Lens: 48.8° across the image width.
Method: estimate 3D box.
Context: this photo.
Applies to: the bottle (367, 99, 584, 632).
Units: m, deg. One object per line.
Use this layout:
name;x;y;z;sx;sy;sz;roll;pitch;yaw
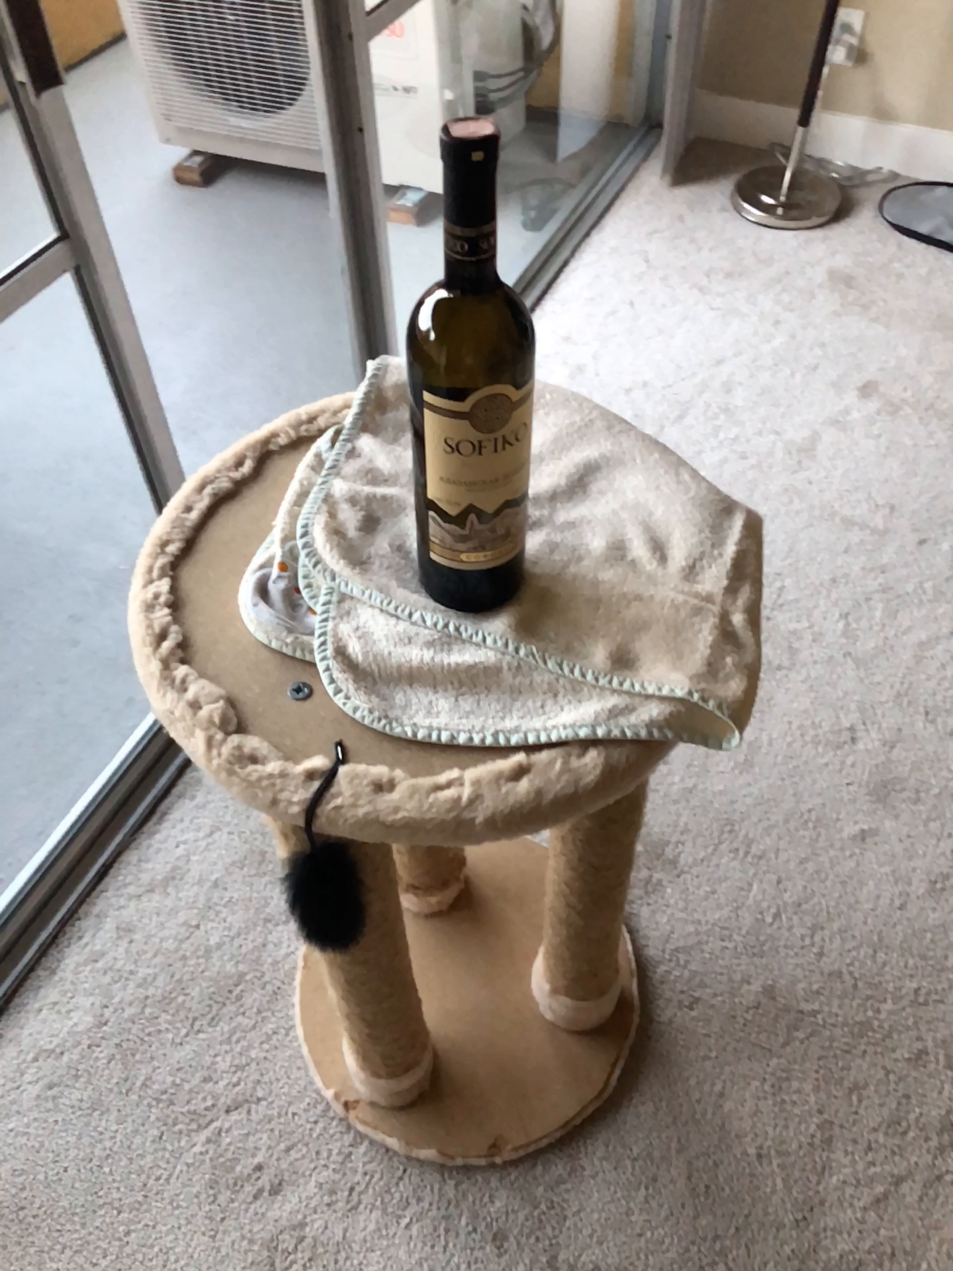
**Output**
bottle;0.000;-0.126;0.560;0.080;0.269;0.080;-1;50;1
